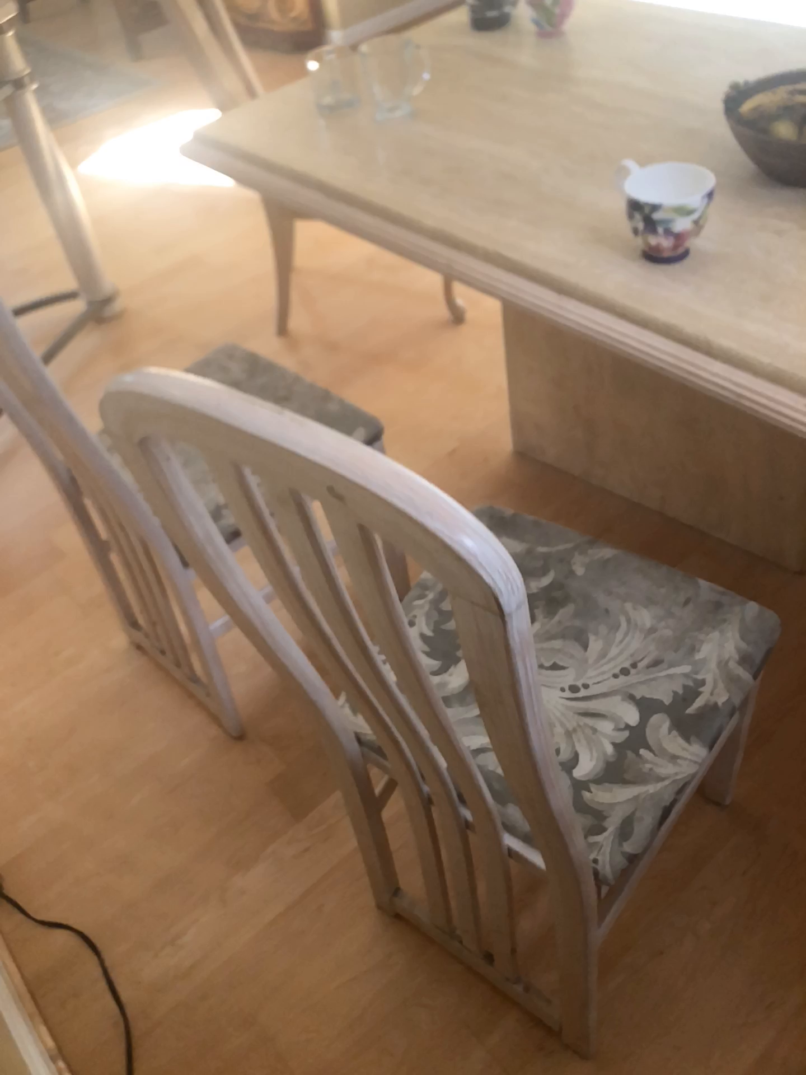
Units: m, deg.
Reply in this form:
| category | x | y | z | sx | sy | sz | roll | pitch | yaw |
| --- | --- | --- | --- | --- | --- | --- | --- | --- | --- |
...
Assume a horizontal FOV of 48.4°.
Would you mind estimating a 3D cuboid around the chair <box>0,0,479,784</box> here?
| category | x | y | z | sx | sy | sz | roll | pitch | yaw |
| --- | --- | --- | --- | --- | --- | --- | --- | --- | --- |
| chair | -0.303 | -0.232 | 1.421 | 0.563 | 1.141 | 0.481 | -39 | 50 | -24 |

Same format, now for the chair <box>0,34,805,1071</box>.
| category | x | y | z | sx | sy | sz | roll | pitch | yaw |
| --- | --- | --- | --- | --- | --- | --- | --- | --- | --- |
| chair | 0.079 | 0.091 | 1.149 | 0.481 | 1.141 | 0.564 | 27 | 55 | 33 |
